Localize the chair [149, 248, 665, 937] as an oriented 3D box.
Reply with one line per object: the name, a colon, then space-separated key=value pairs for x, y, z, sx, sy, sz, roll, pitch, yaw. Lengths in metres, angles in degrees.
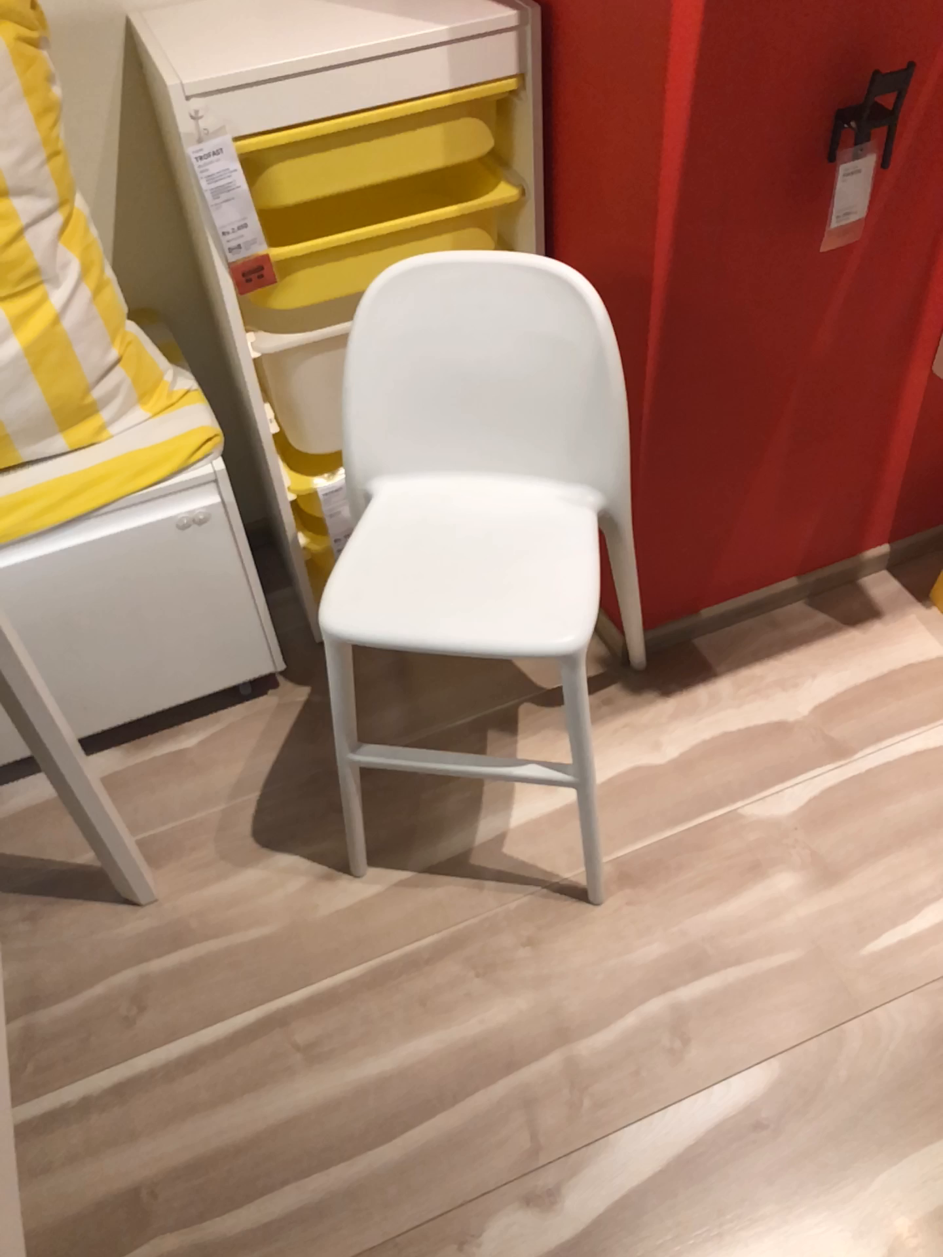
chair: x=-0.010 y=-0.014 z=1.273 sx=0.420 sy=0.705 sz=0.463 roll=4 pitch=50 yaw=9
